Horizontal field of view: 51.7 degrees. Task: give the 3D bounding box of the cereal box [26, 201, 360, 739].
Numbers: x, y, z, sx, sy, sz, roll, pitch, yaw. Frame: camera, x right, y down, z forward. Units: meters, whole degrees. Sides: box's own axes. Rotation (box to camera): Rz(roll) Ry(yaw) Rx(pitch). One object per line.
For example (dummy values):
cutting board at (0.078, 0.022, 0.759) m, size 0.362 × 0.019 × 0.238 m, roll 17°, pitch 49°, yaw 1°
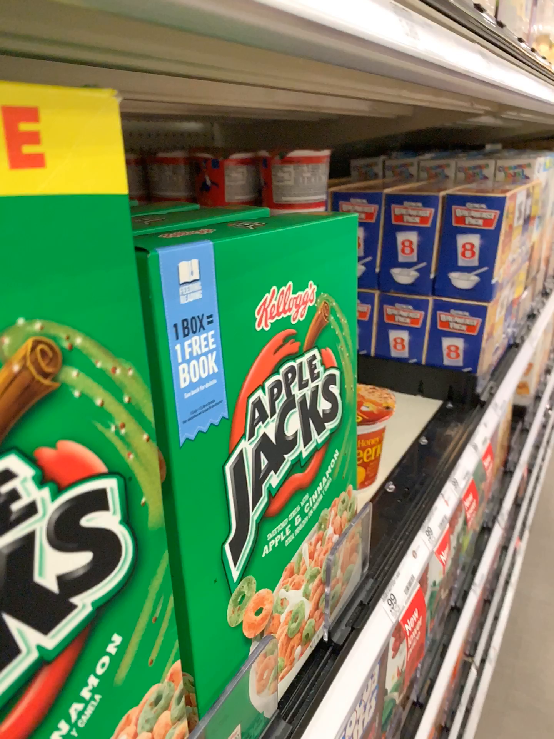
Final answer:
cereal box at (-0.018, 0.057, 0.346) m, size 0.060 × 0.289 × 0.200 m, roll 7°, pitch 21°, yaw 29°
